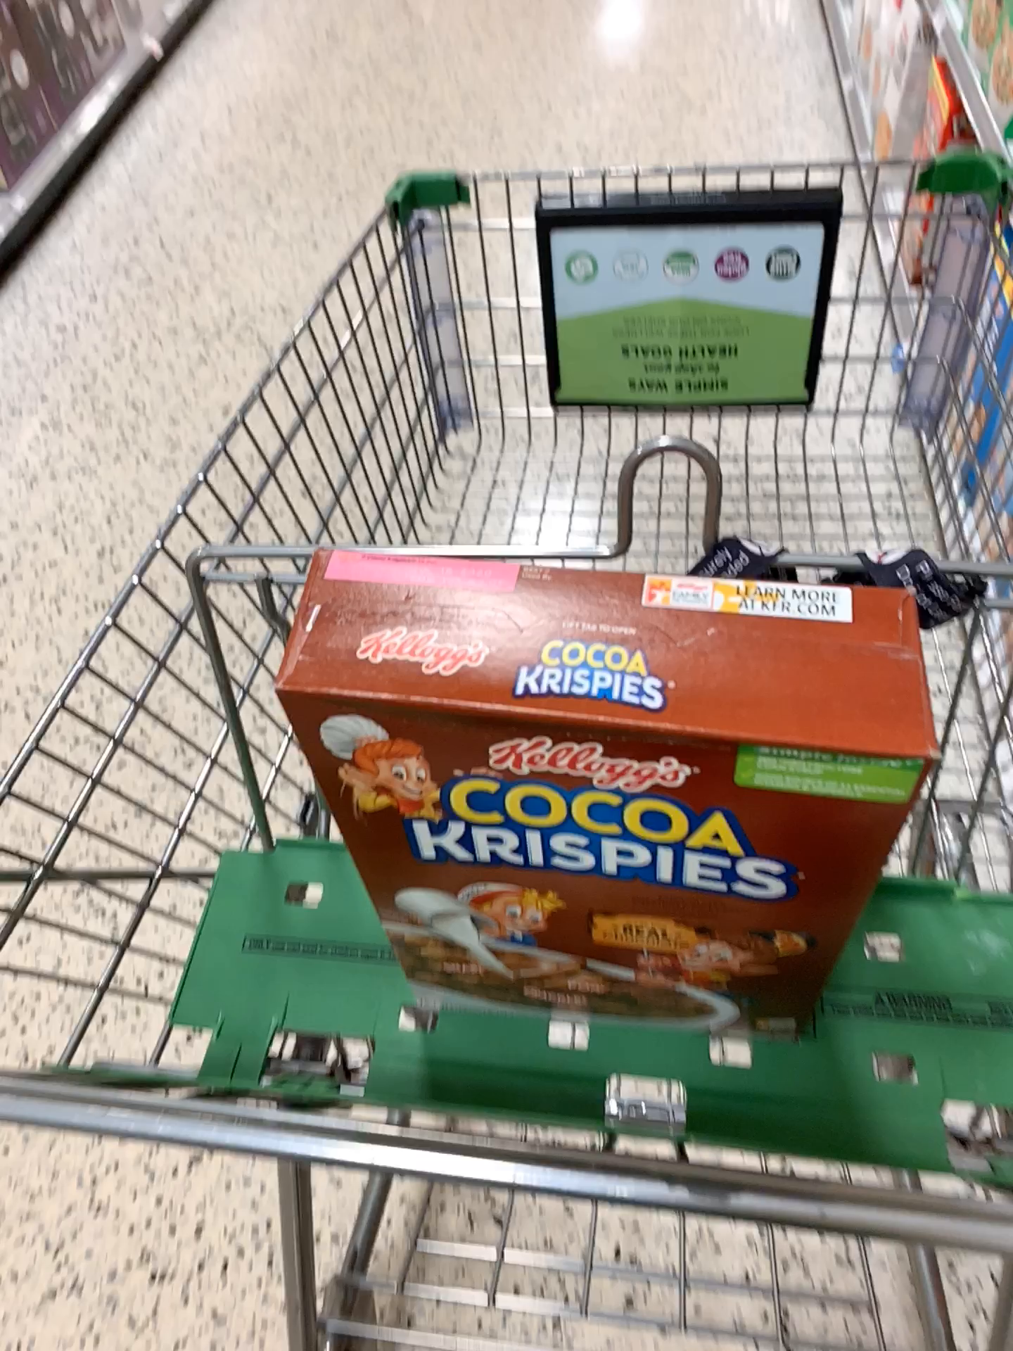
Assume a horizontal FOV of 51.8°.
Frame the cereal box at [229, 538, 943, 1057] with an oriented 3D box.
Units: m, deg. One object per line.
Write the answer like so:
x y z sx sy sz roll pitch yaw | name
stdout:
0.038 0.073 0.433 0.200 0.308 0.060 4 56 10 | cereal box
